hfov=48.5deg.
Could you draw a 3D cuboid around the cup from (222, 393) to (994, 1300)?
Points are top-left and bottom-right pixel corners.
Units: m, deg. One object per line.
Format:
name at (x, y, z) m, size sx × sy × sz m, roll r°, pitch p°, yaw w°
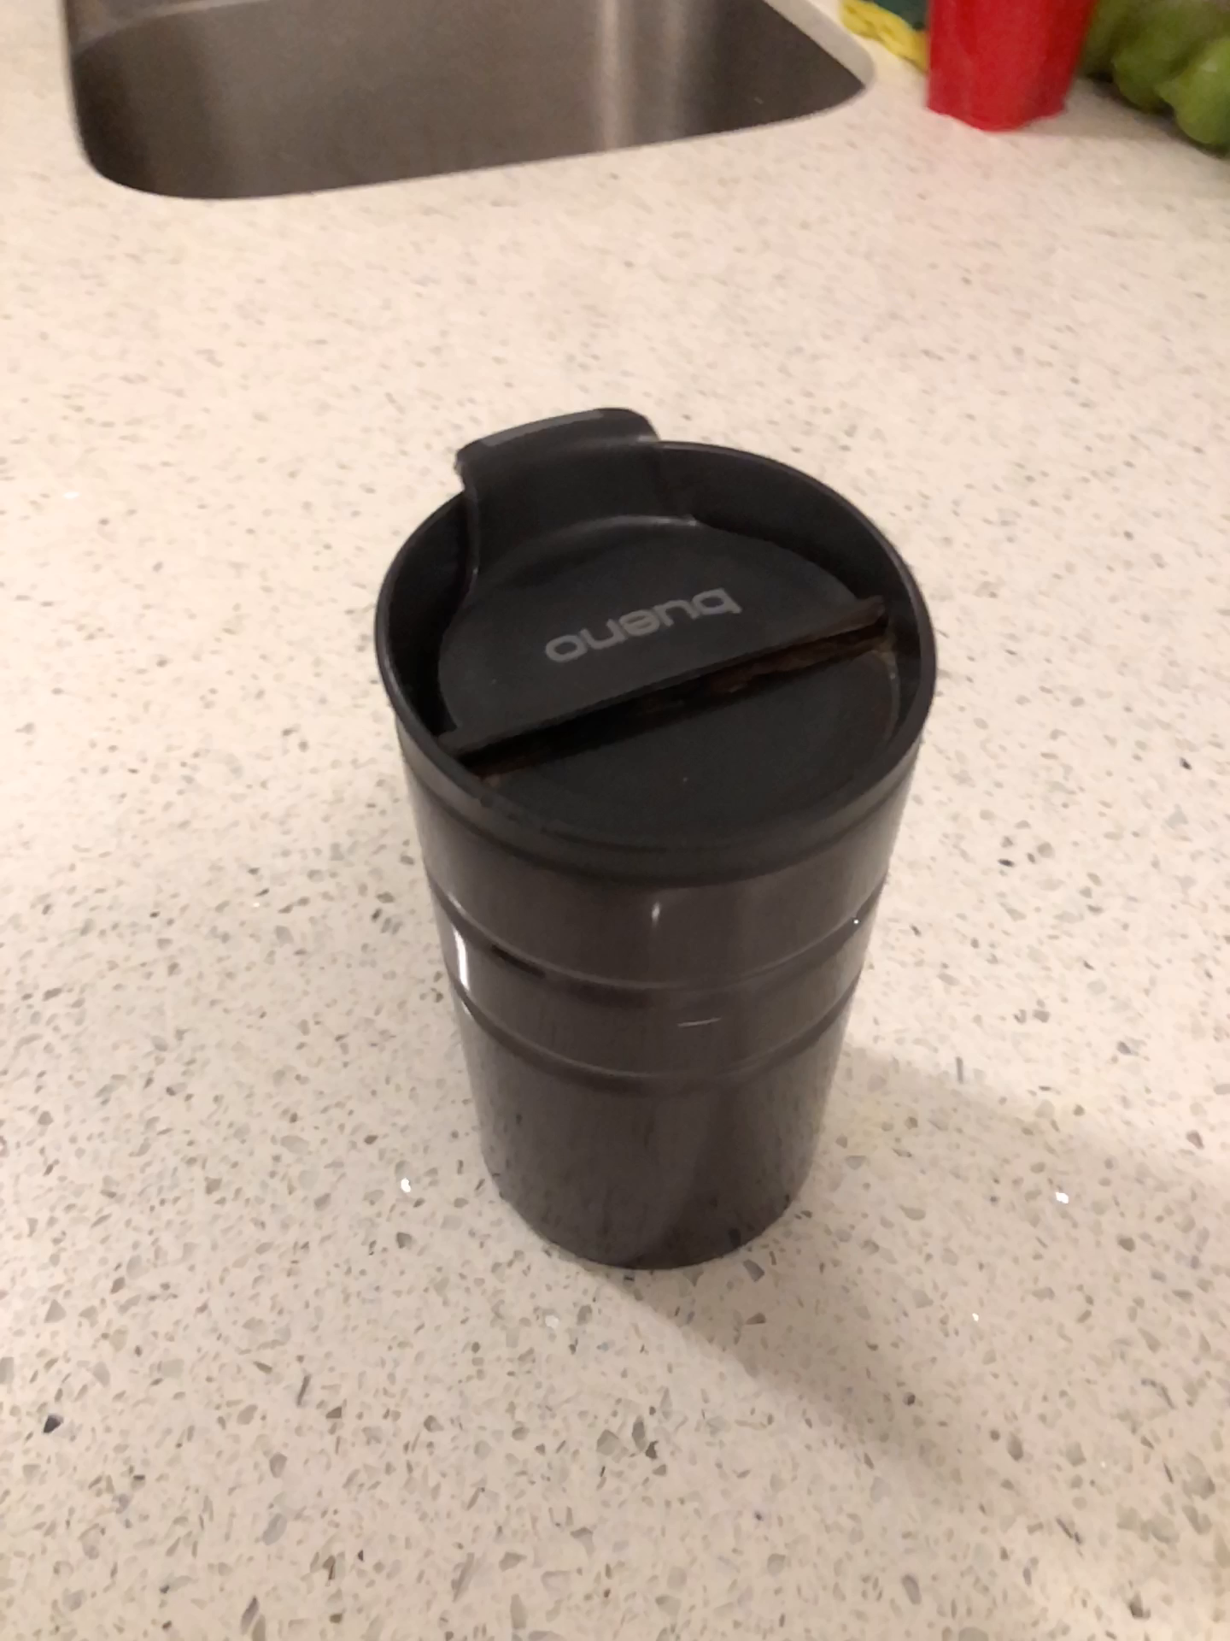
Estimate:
cup at (0.005, 0.007, 0.222) m, size 0.086 × 0.116 × 0.085 m, roll -1°, pitch 47°, yaw 1°
